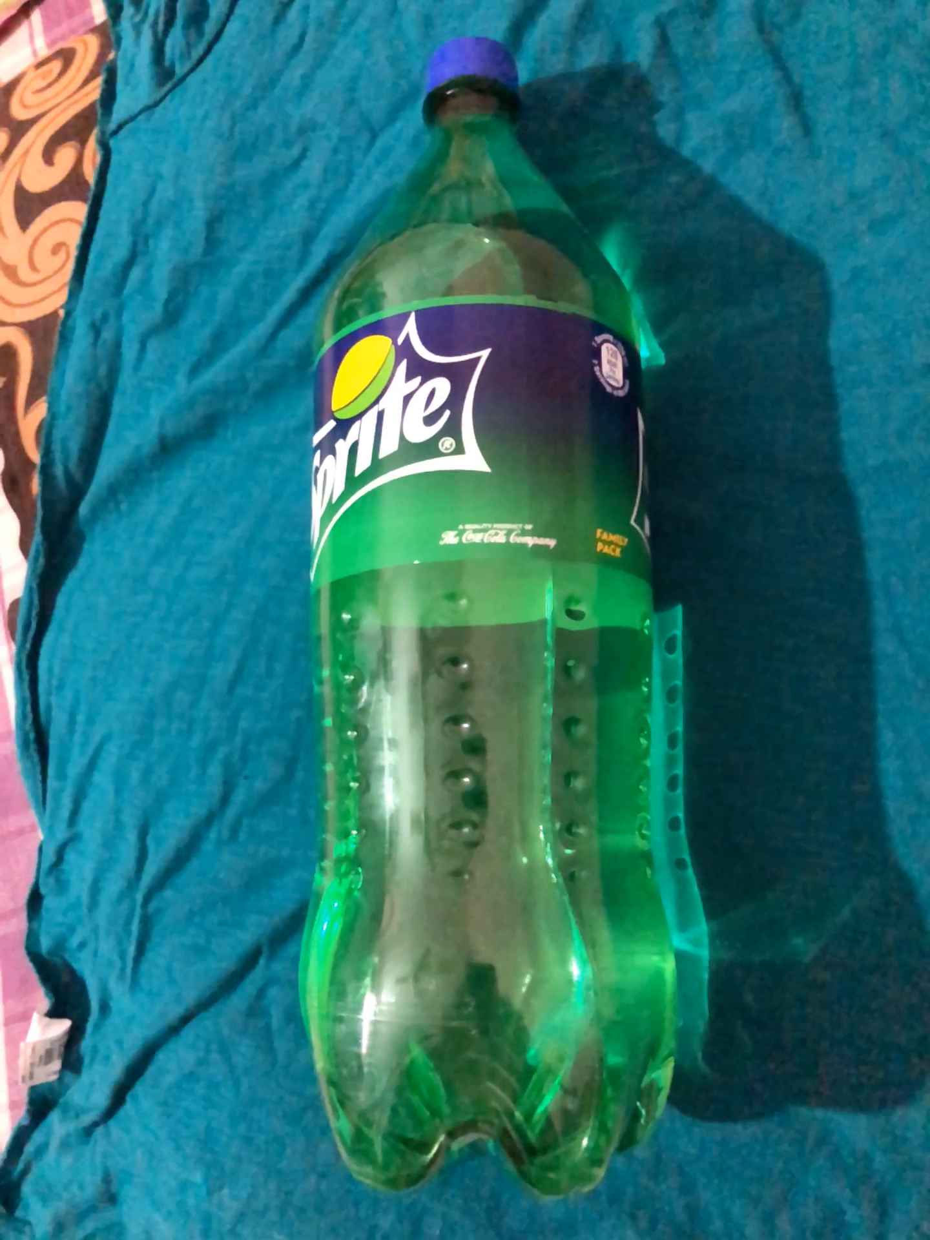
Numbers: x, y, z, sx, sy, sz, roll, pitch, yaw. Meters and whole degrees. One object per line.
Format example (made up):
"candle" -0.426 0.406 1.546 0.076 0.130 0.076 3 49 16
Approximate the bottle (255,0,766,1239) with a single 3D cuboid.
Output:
"bottle" 0.006 -0.027 0.293 0.110 0.070 0.330 -8 79 34
